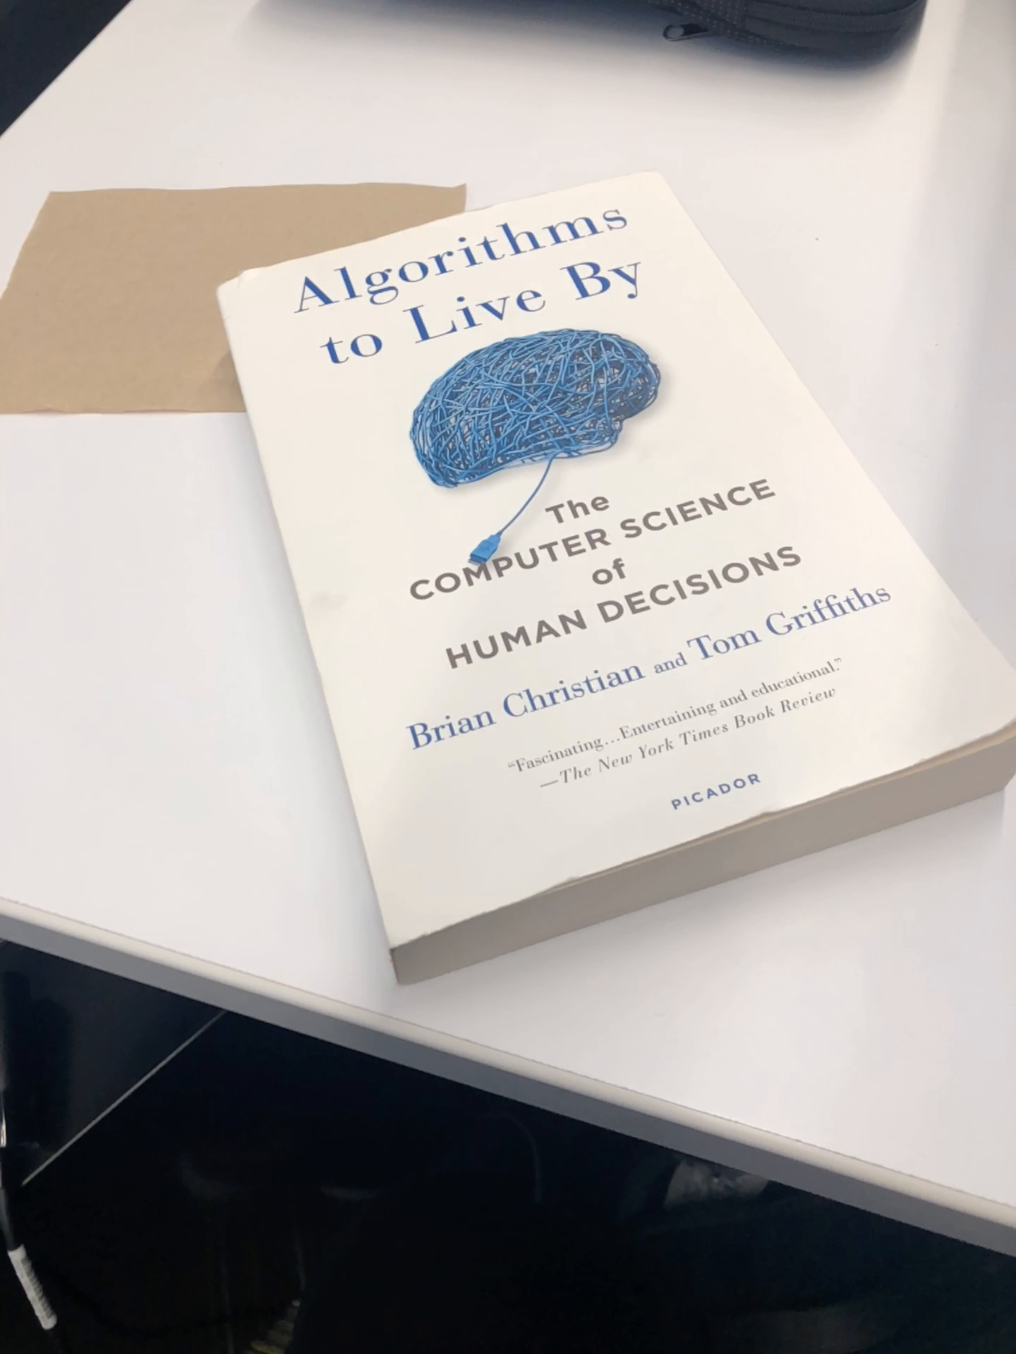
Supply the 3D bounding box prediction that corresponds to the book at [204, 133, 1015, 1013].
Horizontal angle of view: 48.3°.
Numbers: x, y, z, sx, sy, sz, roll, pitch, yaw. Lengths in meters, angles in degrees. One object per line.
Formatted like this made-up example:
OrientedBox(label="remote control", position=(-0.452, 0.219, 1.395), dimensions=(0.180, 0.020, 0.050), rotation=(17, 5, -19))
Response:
OrientedBox(label="book", position=(0.022, -0.048, 0.296), dimensions=(0.160, 0.040, 0.221), rotation=(-17, 56, -7))
